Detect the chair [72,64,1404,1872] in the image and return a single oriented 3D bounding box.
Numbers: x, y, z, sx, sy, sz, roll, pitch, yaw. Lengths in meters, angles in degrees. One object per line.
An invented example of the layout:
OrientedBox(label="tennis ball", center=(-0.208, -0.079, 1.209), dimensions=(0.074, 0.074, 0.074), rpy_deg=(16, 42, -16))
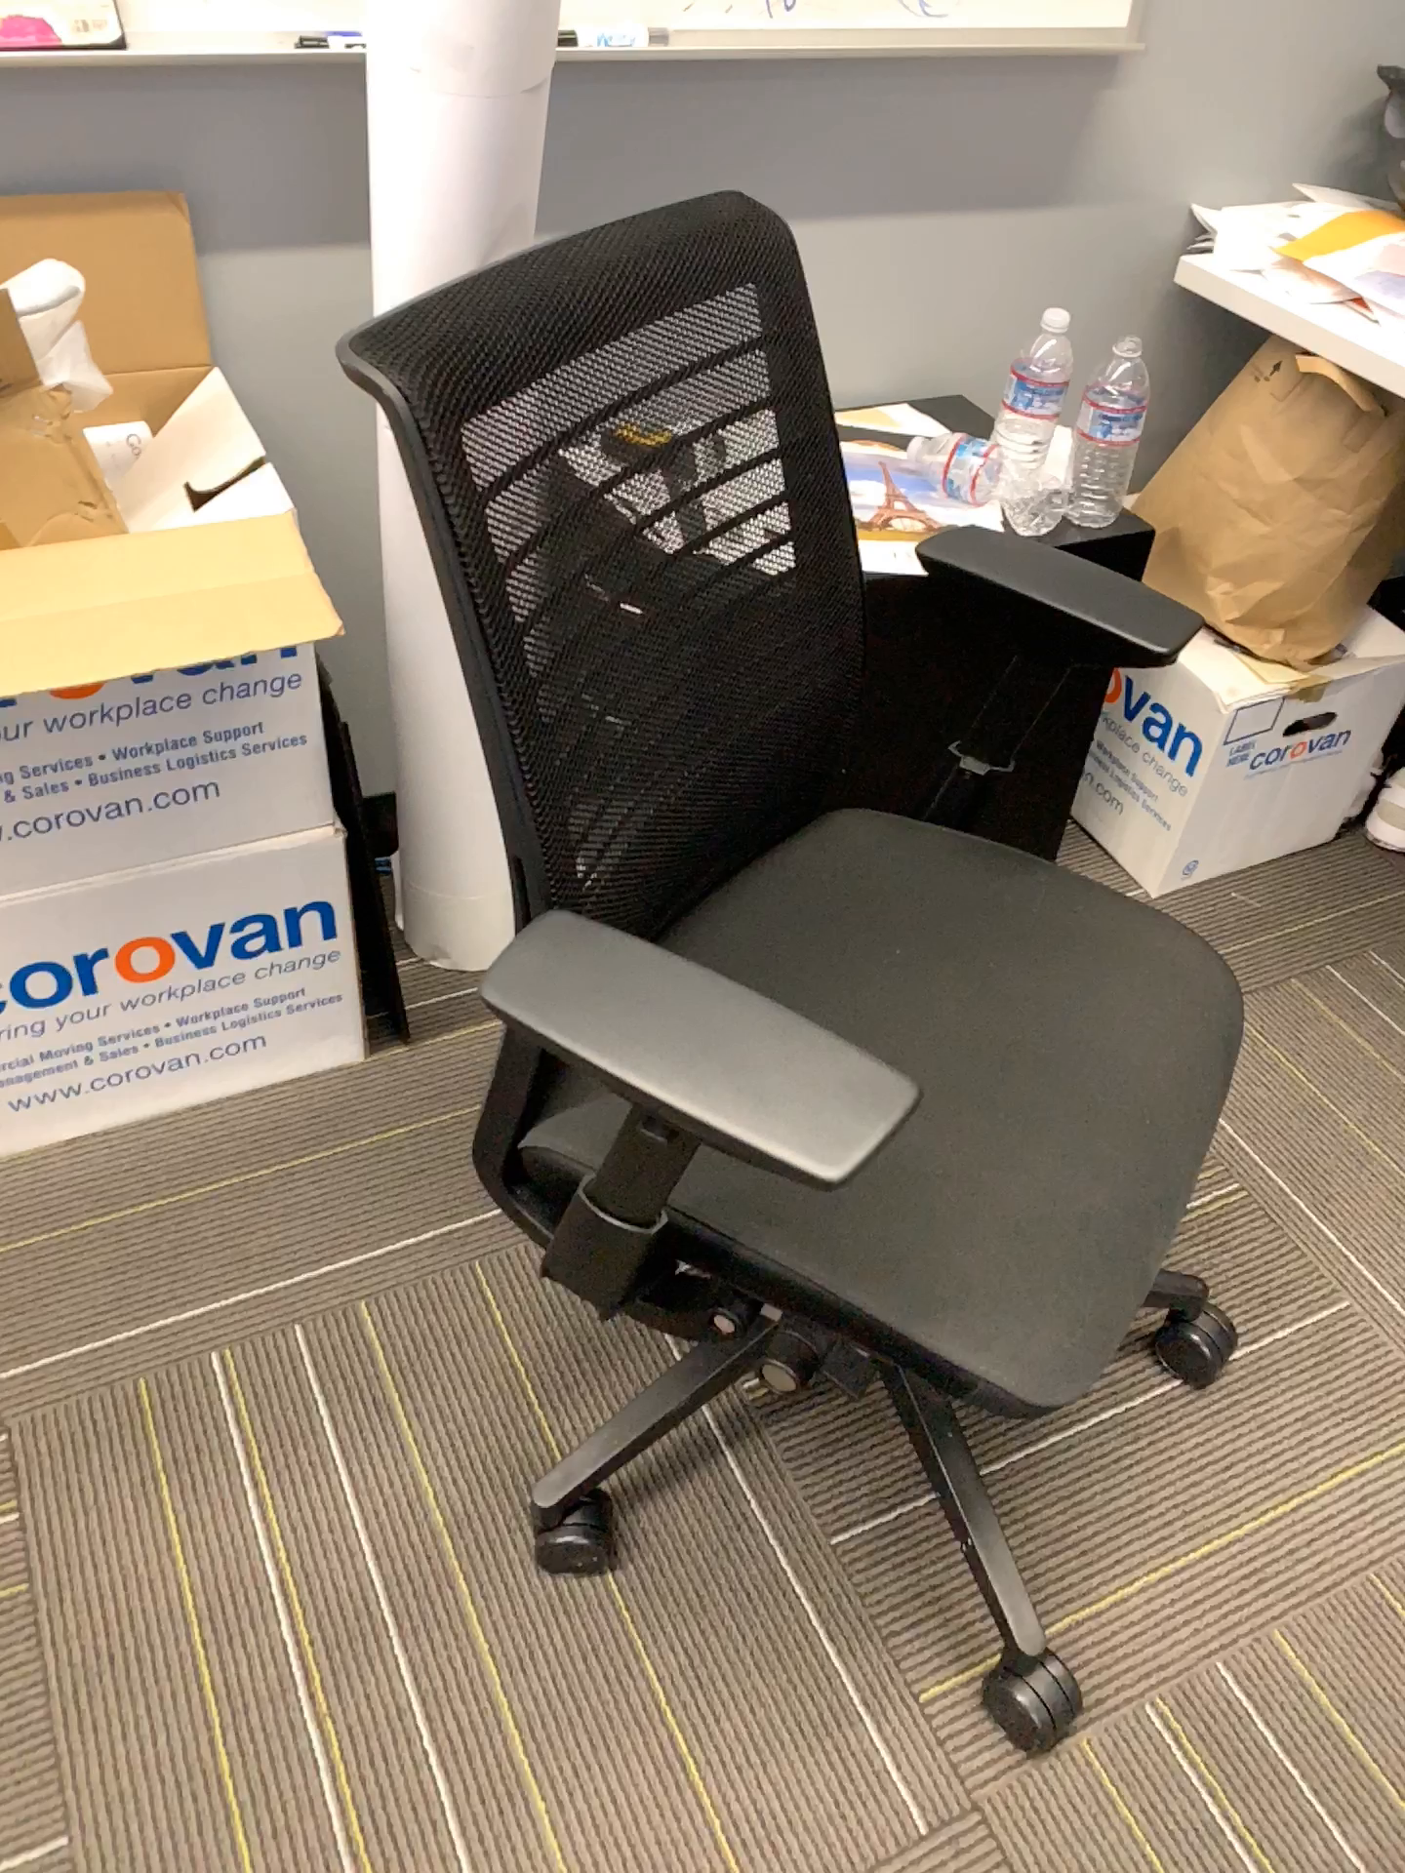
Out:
OrientedBox(label="chair", center=(0.159, 0.010, 1.017), dimensions=(0.681, 0.915, 0.663), rpy_deg=(21, 43, 17))
